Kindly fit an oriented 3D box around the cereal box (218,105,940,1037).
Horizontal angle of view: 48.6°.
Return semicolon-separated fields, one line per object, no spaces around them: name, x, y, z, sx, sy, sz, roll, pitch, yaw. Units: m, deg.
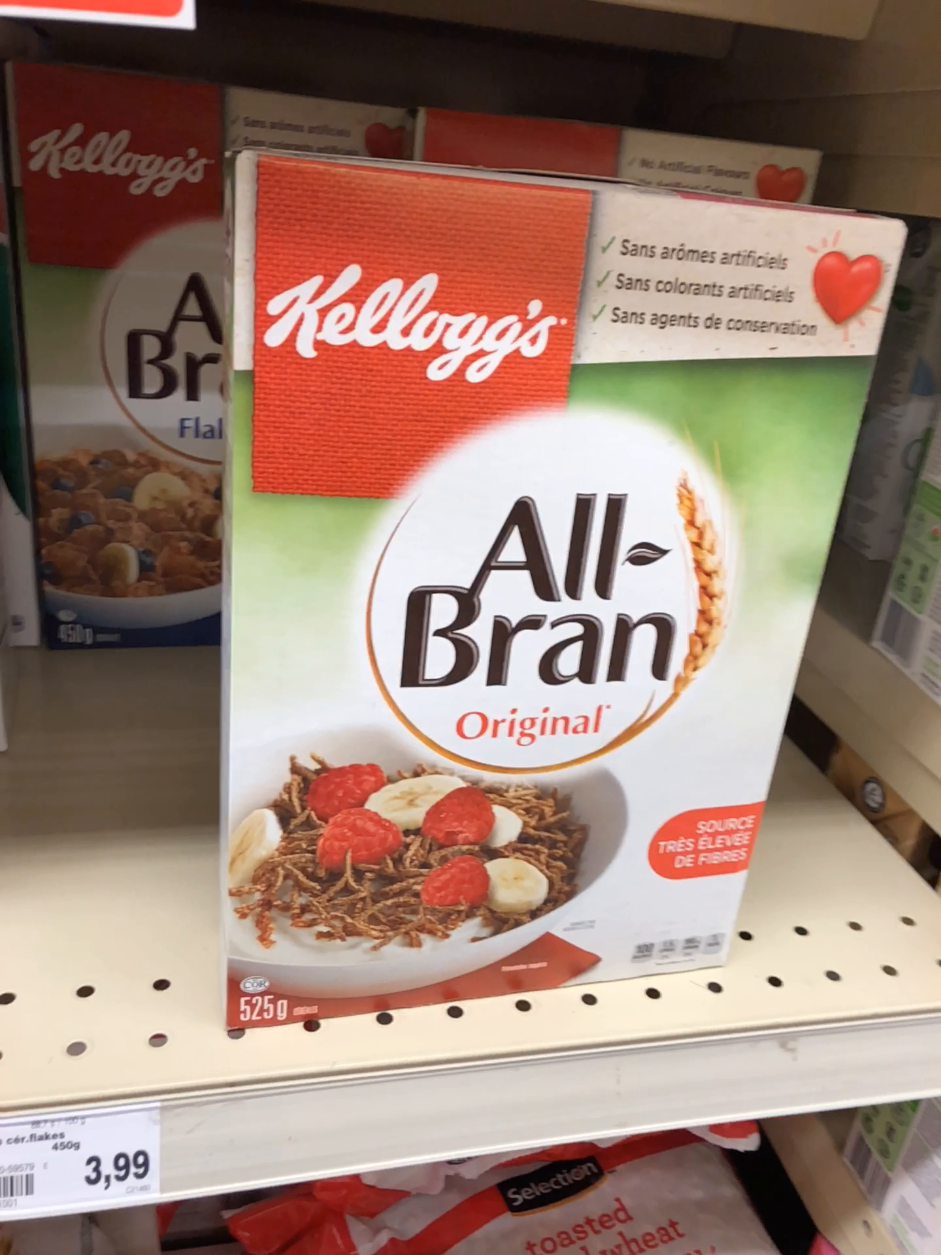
cereal box;0.016;-0.008;0.347;0.190;0.278;0.070;-2;26;-17
